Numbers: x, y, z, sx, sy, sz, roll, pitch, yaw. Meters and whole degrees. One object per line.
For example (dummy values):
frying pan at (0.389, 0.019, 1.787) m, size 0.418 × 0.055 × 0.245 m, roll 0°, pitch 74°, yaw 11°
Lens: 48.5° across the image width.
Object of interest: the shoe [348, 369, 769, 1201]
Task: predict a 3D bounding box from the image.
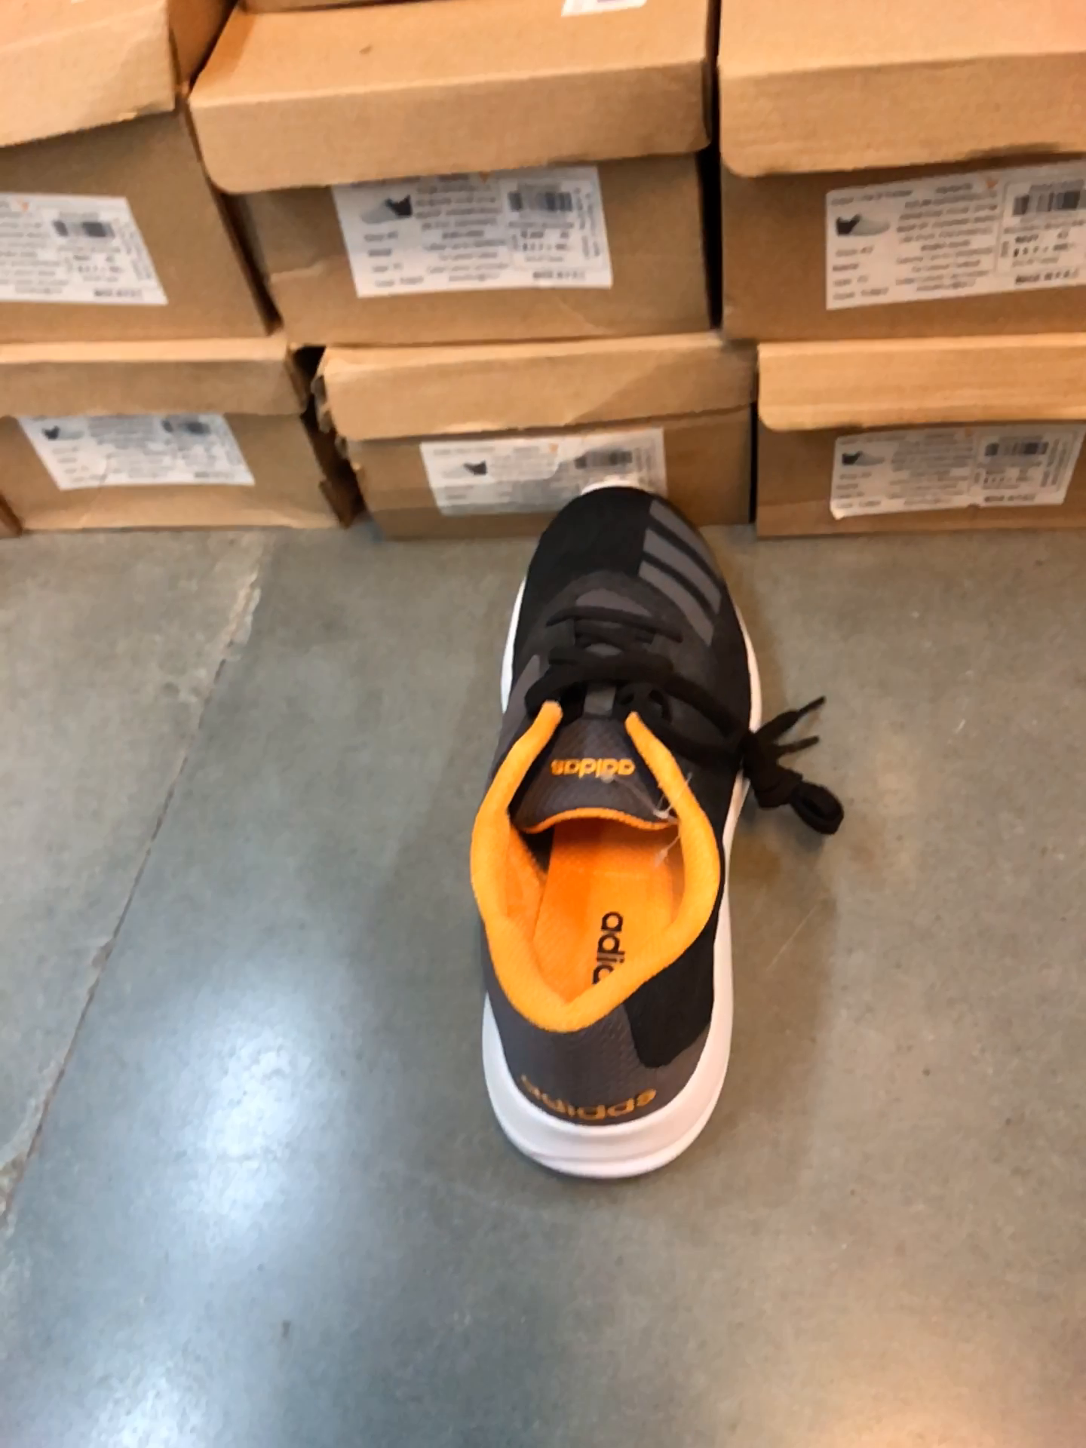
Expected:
shoe at (0.021, 0.013, 0.433) m, size 0.110 × 0.117 × 0.272 m, roll 0°, pitch 57°, yaw 8°
